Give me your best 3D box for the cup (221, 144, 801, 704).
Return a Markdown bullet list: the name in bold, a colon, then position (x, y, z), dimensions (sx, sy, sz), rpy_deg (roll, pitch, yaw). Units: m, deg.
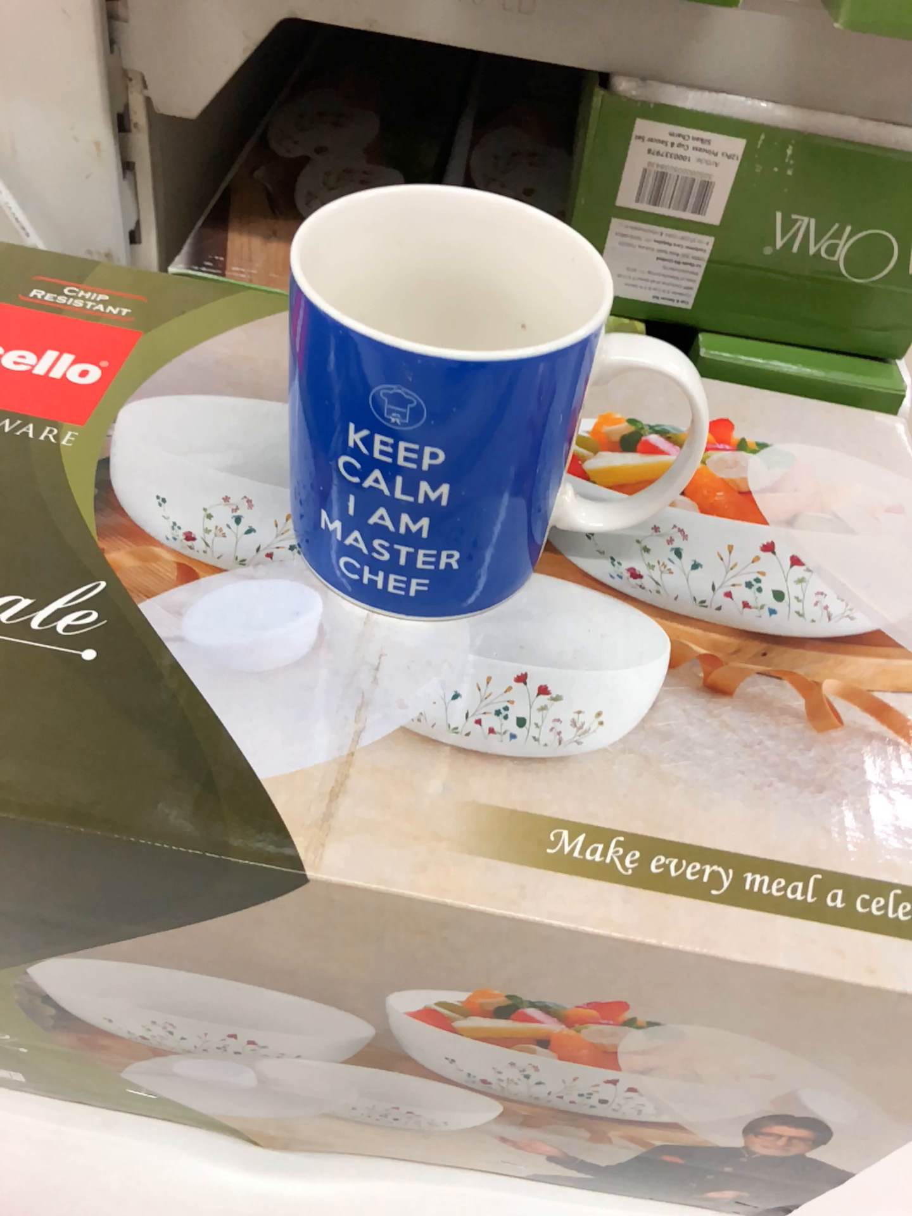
- **cup**: position (0.014, -0.057, 0.313), dimensions (0.140, 0.099, 0.111), rpy_deg (11, 47, -1)
